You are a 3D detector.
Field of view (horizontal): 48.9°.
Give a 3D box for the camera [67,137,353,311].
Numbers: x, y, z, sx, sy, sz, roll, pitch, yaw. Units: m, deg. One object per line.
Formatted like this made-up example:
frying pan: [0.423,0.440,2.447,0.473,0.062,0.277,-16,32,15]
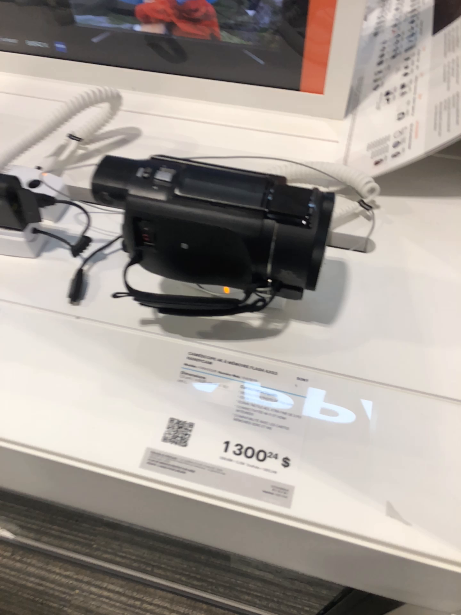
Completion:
camera: [-0.011,-0.057,0.343,0.168,0.066,0.061,11,54,10]
